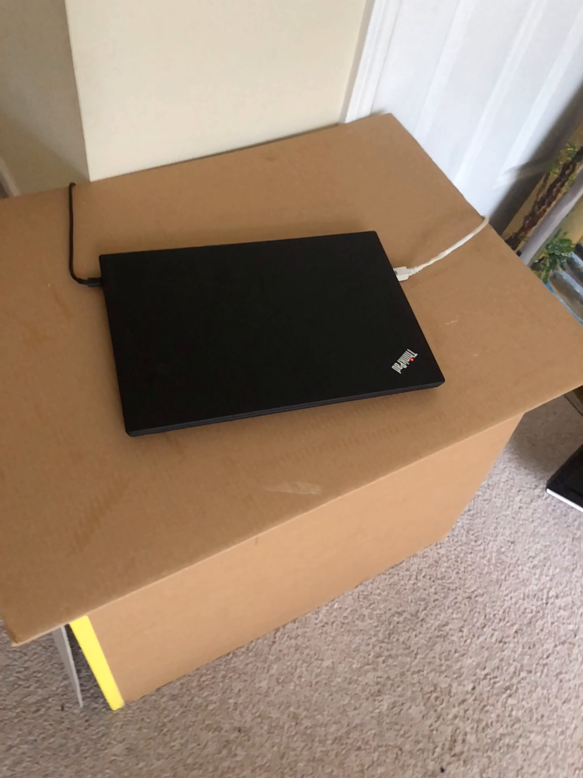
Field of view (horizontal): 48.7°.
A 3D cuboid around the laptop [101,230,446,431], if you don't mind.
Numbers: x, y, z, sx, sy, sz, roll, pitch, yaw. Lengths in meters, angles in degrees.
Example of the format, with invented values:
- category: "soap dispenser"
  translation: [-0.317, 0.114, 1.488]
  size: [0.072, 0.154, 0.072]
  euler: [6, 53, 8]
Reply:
- category: "laptop"
  translation: [-0.023, -0.079, 0.685]
  size: [0.327, 0.002, 0.226]
  euler: [-8, 58, -16]
